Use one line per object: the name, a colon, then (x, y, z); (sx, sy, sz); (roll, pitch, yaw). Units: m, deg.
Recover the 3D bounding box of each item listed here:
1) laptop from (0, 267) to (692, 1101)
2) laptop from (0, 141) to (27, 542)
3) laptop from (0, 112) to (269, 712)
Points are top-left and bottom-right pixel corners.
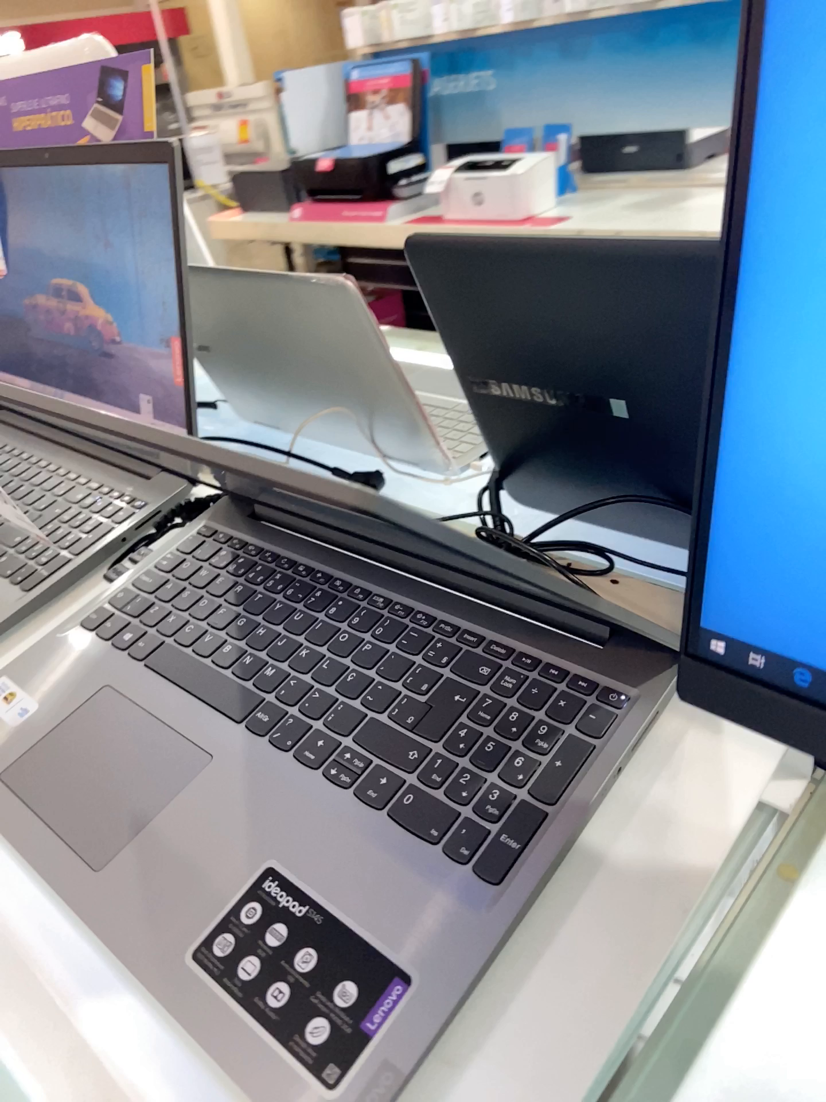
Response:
laptop: (-0.095, 0.010, 0.400); (0.360, 0.163, 0.242); (18, 47, 39)
laptop: (-0.767, -0.291, 1.054); (0.311, 0.260, 0.387); (19, 47, 35)
laptop: (-0.367, -0.158, 0.674); (0.347, 0.224, 0.352); (18, 47, 36)
